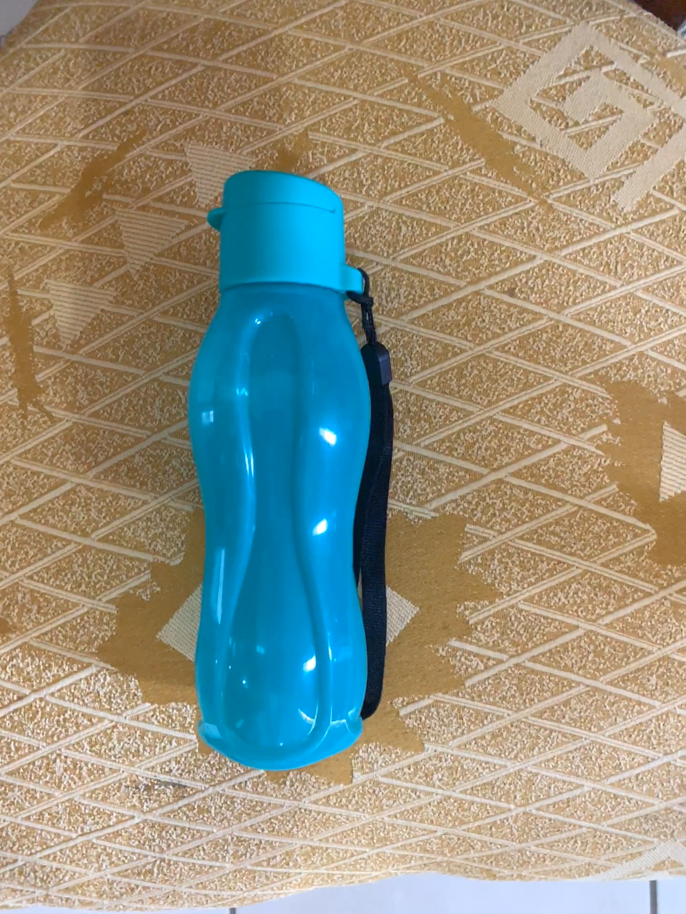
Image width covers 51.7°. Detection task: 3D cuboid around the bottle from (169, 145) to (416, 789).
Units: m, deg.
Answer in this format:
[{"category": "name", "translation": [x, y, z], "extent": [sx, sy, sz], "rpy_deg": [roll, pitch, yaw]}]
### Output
[{"category": "bottle", "translation": [-0.016, 0.003, 0.247], "extent": [0.070, 0.050, 0.200], "rpy_deg": [2, 91, 2]}]
